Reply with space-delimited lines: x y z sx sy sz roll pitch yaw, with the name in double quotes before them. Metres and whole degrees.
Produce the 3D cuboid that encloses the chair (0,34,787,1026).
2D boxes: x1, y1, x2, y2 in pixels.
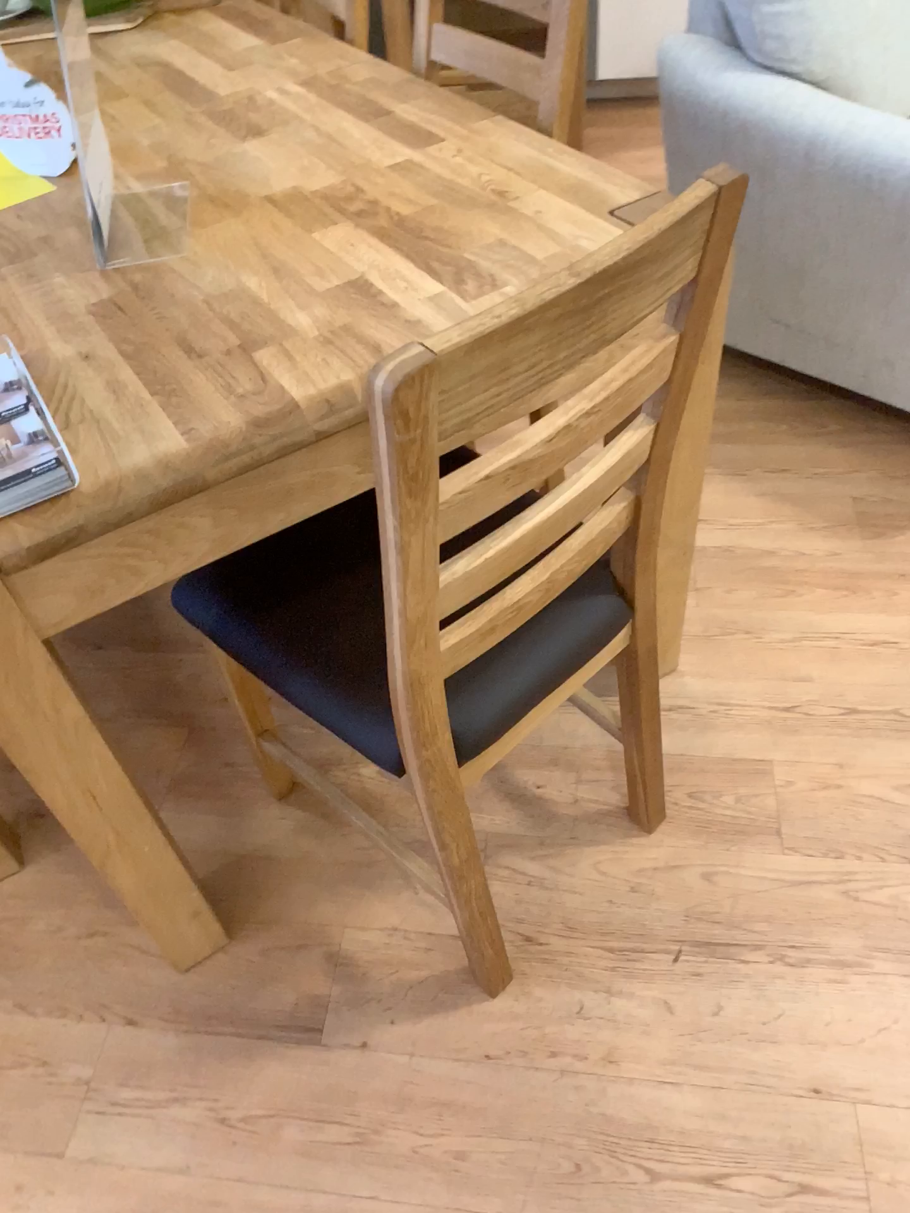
"chair" -0.051 -0.033 1.048 0.422 0.917 0.520 -36 53 -25
